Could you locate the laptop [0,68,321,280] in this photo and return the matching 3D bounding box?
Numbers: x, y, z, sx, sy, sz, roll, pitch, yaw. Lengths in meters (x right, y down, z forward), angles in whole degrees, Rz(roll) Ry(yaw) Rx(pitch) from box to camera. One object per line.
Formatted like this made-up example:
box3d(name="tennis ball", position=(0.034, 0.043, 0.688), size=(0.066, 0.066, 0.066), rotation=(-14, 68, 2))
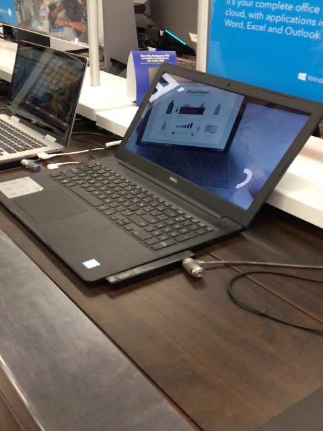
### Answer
box3d(name="laptop", position=(-0.056, -0.108, 0.721), size=(0.392, 0.190, 0.373), rotation=(-20, 39, -29))
